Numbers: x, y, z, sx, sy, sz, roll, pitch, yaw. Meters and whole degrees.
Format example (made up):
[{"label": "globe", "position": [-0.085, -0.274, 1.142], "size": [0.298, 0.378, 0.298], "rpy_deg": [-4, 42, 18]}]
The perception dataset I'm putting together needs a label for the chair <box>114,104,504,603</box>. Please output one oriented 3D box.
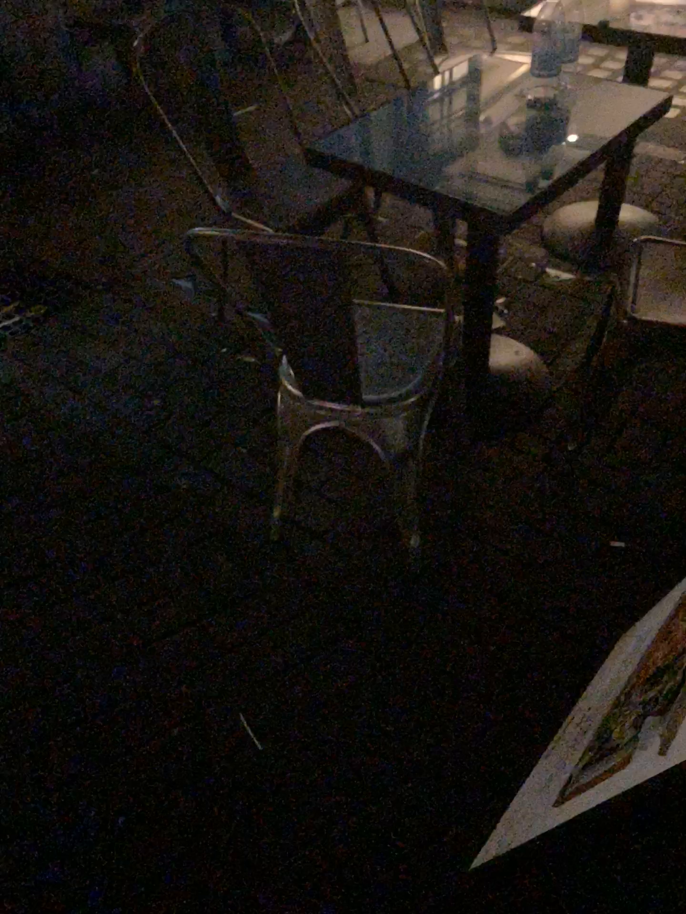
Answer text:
[{"label": "chair", "position": [0.011, -0.204, 1.393], "size": [0.500, 0.723, 0.606], "rpy_deg": [6, 47, 11]}]
